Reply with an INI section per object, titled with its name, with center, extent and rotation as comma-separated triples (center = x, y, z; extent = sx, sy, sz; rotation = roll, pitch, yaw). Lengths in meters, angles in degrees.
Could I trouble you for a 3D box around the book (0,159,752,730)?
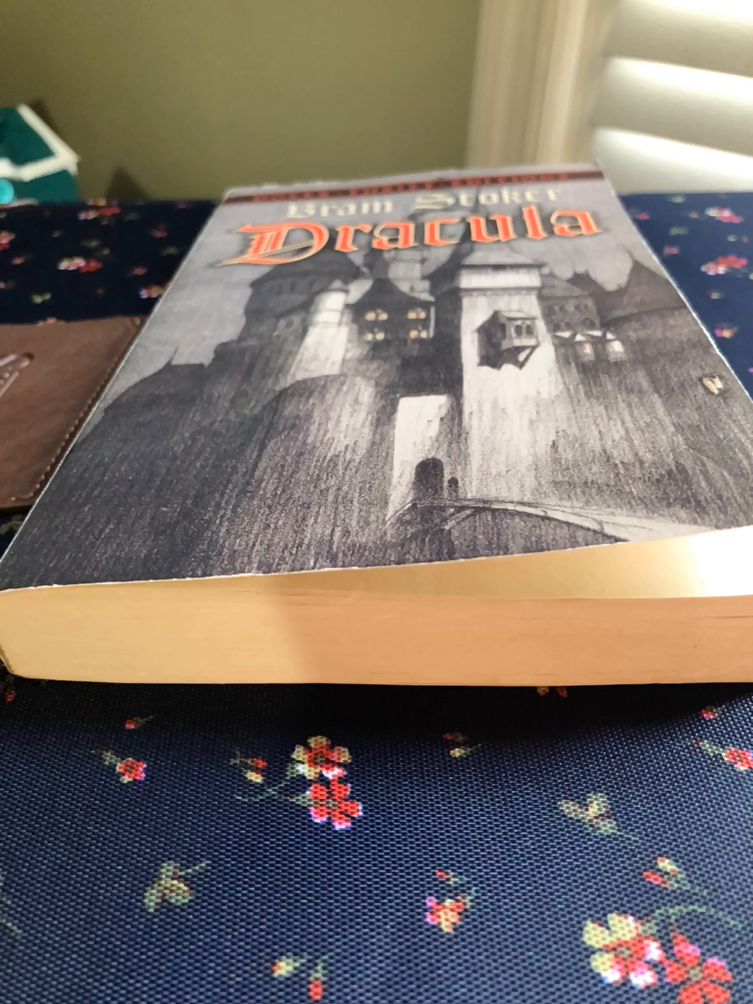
[book]
center = 0.006, -0.037, 0.214
extent = 0.130, 0.033, 0.204
rotation = -2, 37, 5
